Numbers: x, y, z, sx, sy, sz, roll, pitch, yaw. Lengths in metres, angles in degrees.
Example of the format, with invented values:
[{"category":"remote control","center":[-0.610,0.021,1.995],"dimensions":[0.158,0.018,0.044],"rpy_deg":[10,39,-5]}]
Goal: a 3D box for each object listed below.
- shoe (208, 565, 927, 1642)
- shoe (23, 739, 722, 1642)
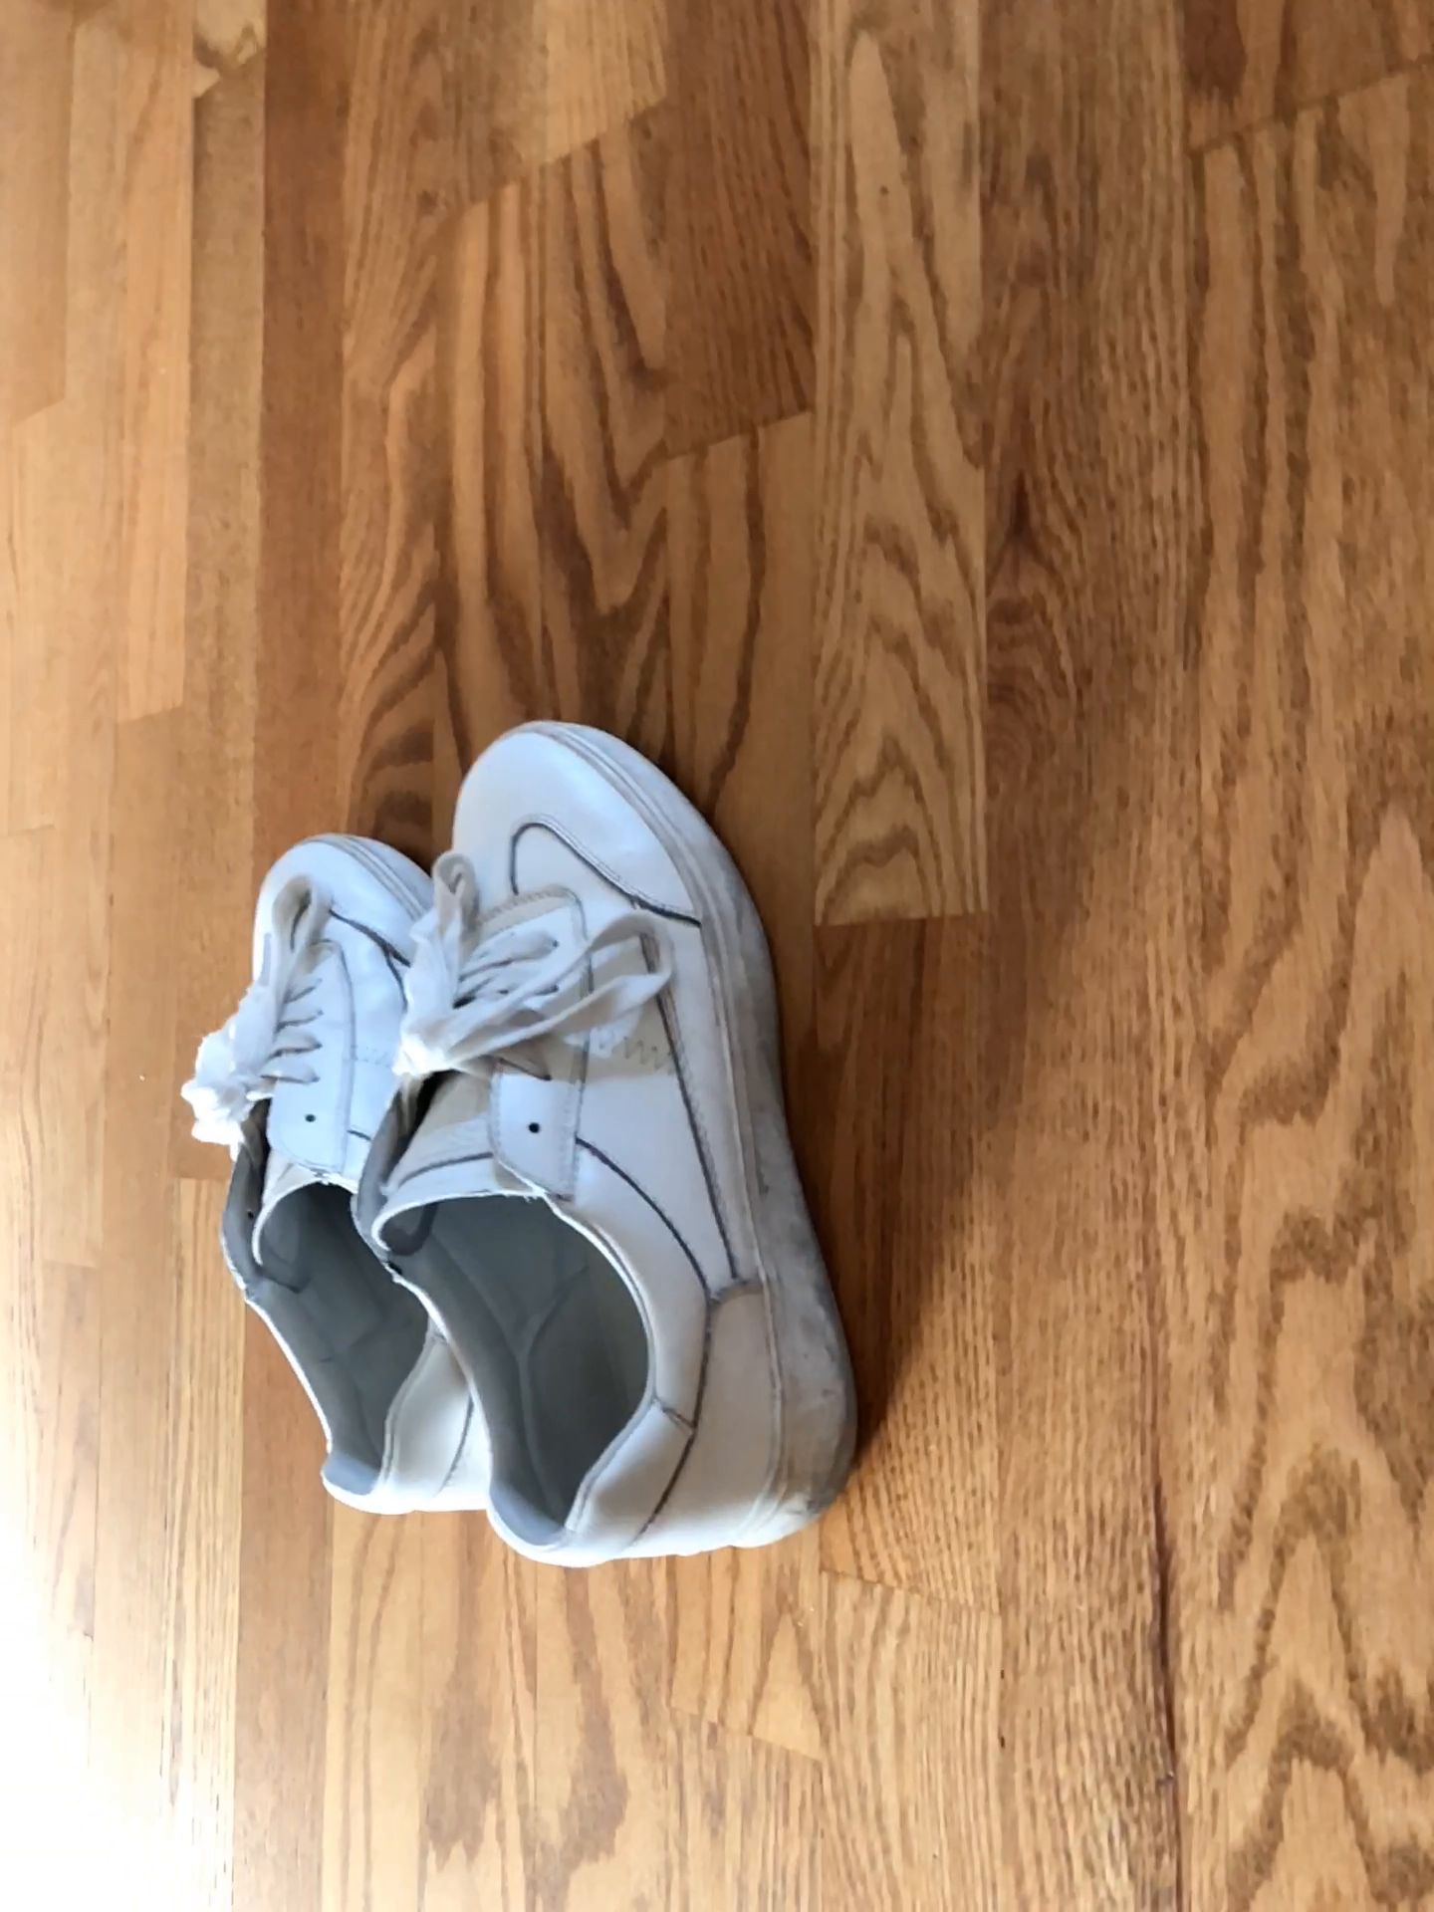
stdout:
[{"category":"shoe","center":[-0.050,0.038,0.451],"dimensions":[0.103,0.106,0.260],"rpy_deg":[-30,68,36]},{"category":"shoe","center":[-0.123,0.064,0.518],"dimensions":[0.103,0.104,0.260],"rpy_deg":[-48,58,28]}]
